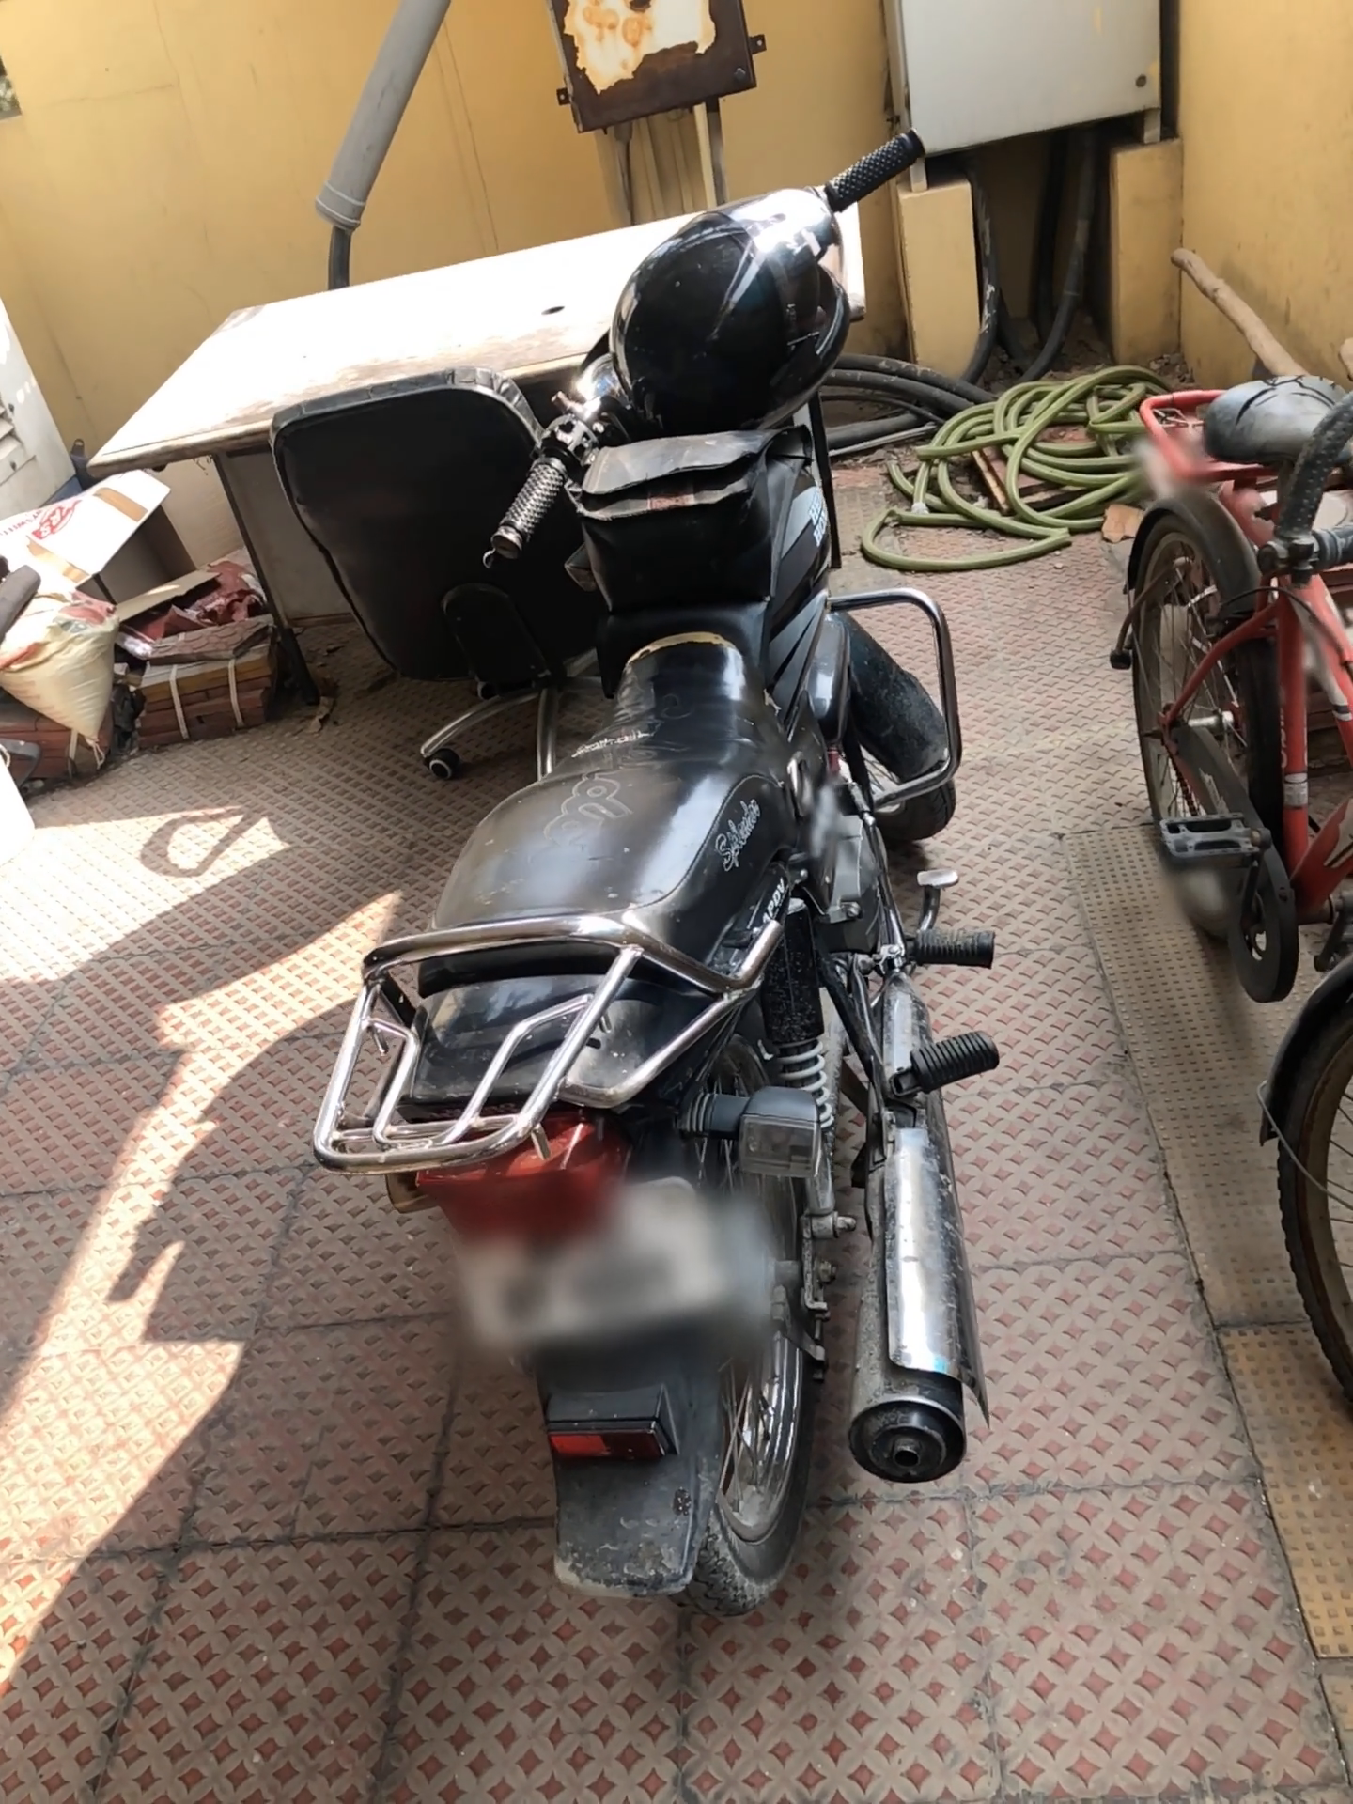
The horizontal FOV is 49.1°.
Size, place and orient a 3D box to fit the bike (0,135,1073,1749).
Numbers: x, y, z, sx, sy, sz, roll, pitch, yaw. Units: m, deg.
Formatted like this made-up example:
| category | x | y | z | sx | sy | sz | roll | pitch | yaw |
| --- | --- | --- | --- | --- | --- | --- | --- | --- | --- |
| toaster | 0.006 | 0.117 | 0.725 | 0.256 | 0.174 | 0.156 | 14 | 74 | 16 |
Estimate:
| category | x | y | z | sx | sy | sz | roll | pitch | yaw |
| --- | --- | --- | --- | --- | --- | --- | --- | --- | --- |
| bike | -0.108 | -0.133 | 1.710 | 0.713 | 1.027 | 1.624 | -8 | 35 | 7 |
